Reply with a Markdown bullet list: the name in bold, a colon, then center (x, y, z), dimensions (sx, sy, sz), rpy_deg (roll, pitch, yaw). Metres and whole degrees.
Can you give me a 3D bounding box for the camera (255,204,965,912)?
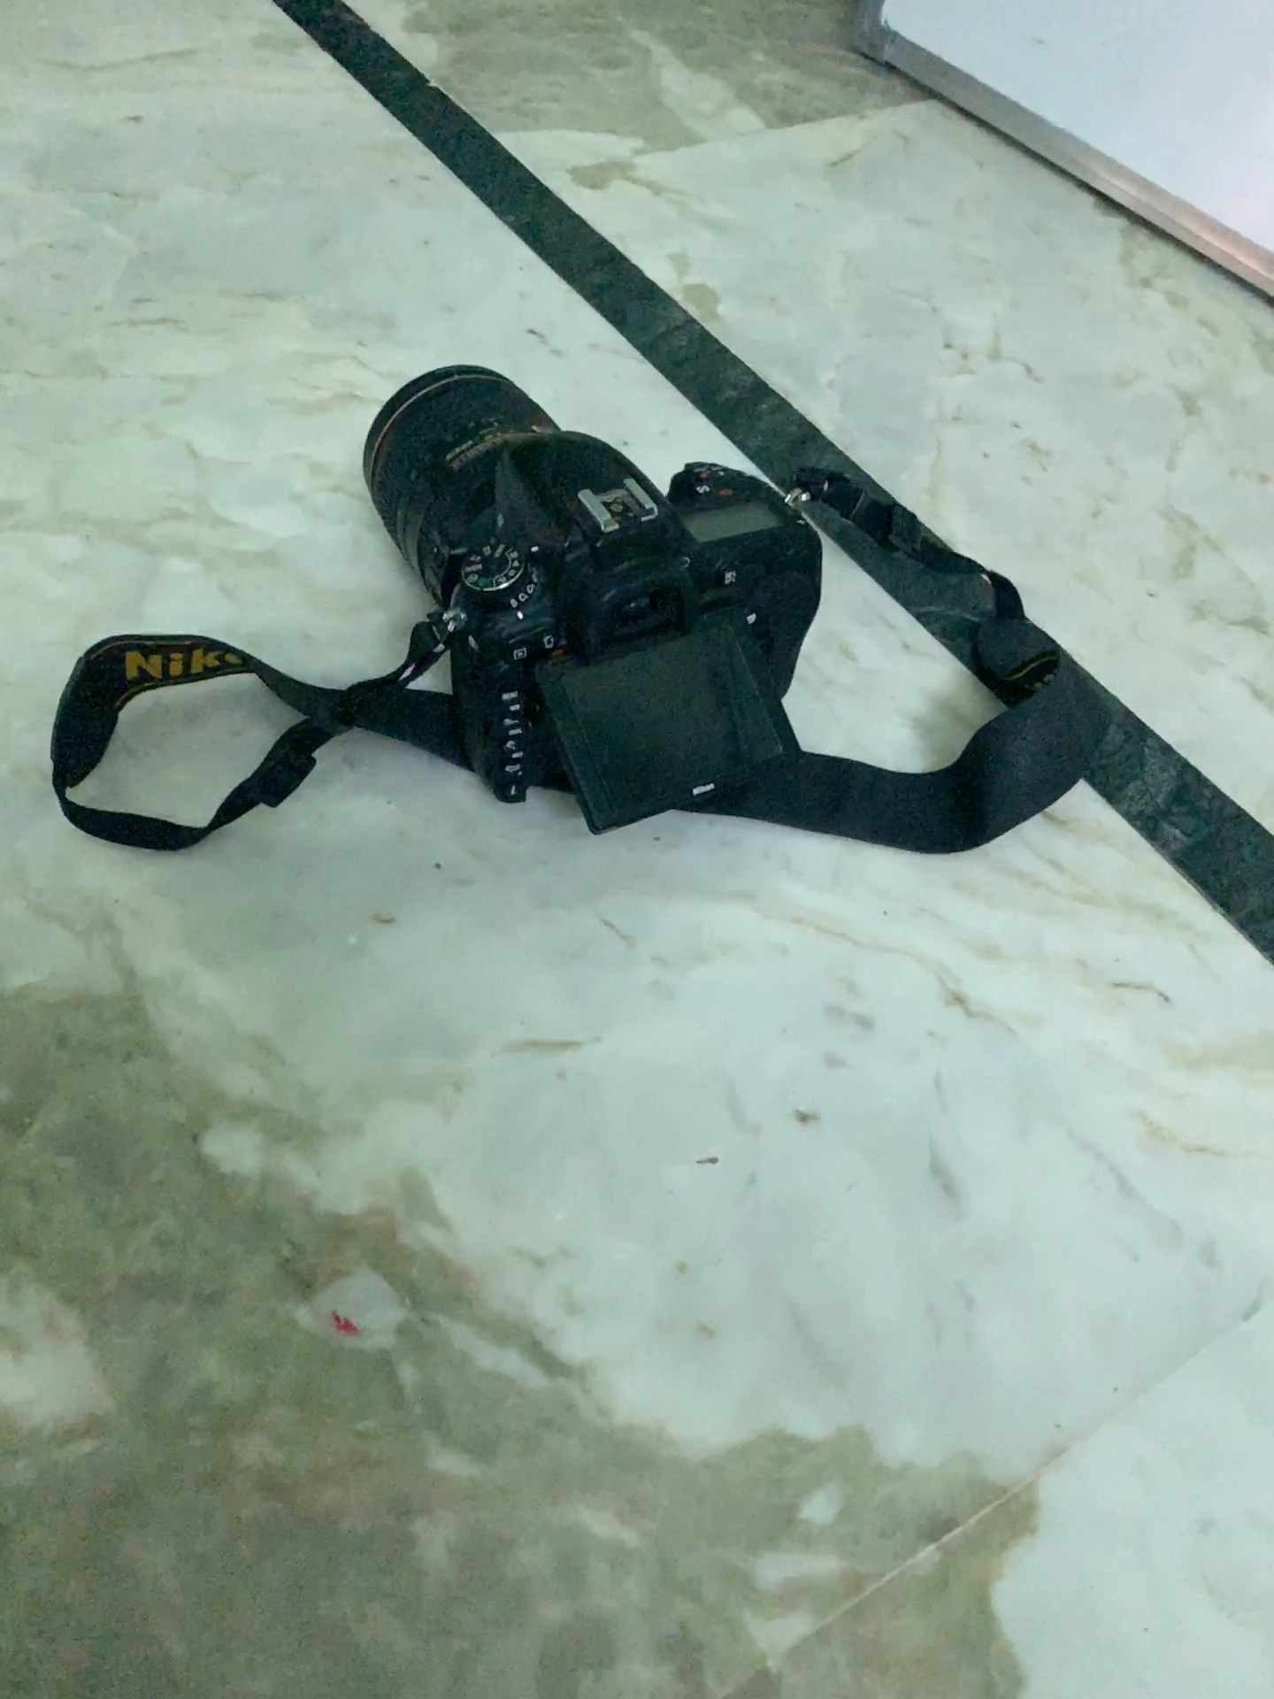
- **camera**: center (-0.025, -0.125, 0.491), dimensions (0.147, 0.100, 0.259), rpy_deg (-20, 55, -20)
